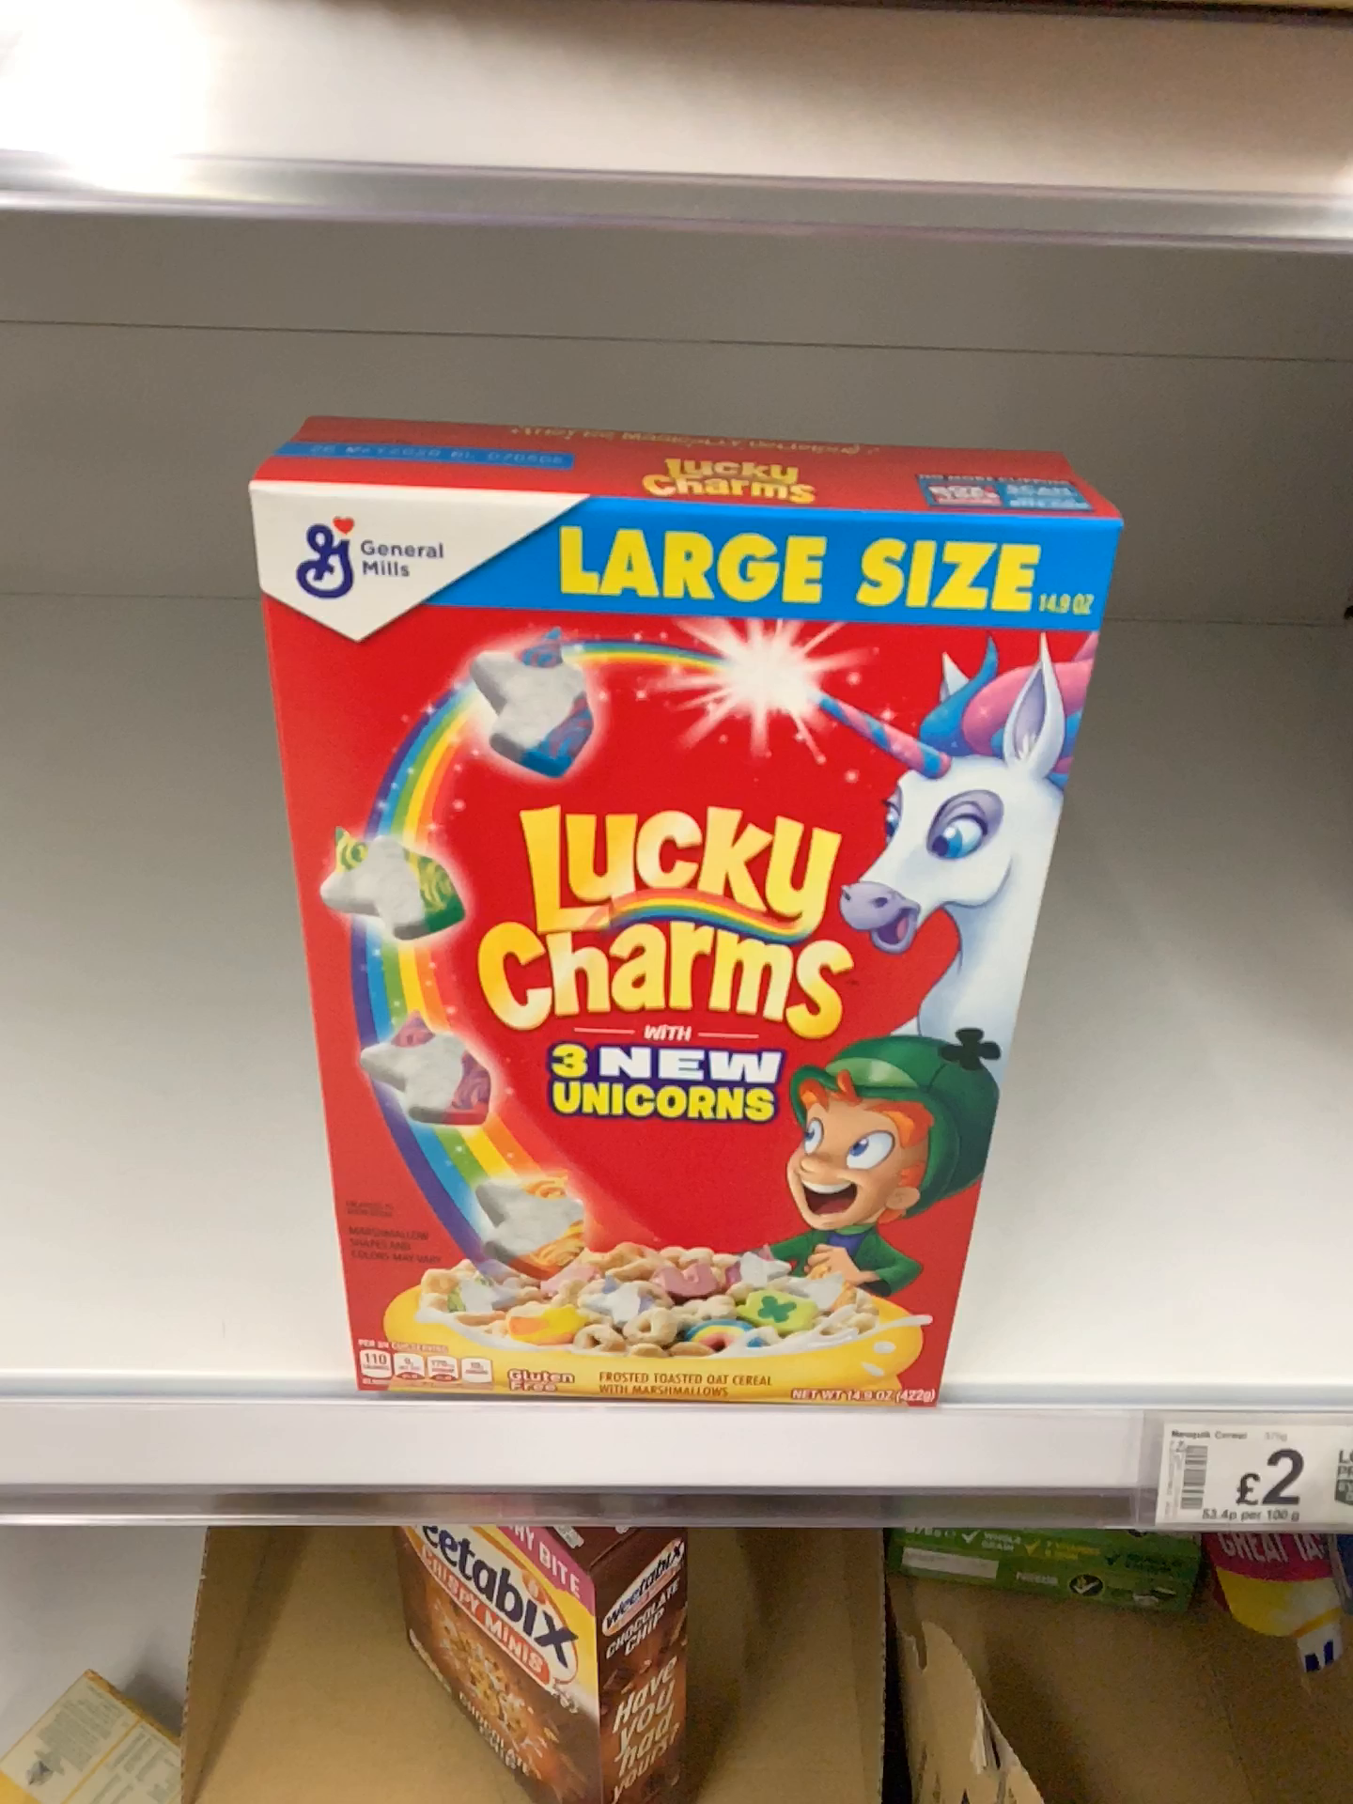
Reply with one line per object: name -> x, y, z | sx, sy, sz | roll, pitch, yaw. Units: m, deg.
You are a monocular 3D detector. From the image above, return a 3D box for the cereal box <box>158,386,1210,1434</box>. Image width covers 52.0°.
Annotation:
cereal box -> -0.002, 0.020, 0.381 | 0.210, 0.287, 0.071 | 2, 31, -1
